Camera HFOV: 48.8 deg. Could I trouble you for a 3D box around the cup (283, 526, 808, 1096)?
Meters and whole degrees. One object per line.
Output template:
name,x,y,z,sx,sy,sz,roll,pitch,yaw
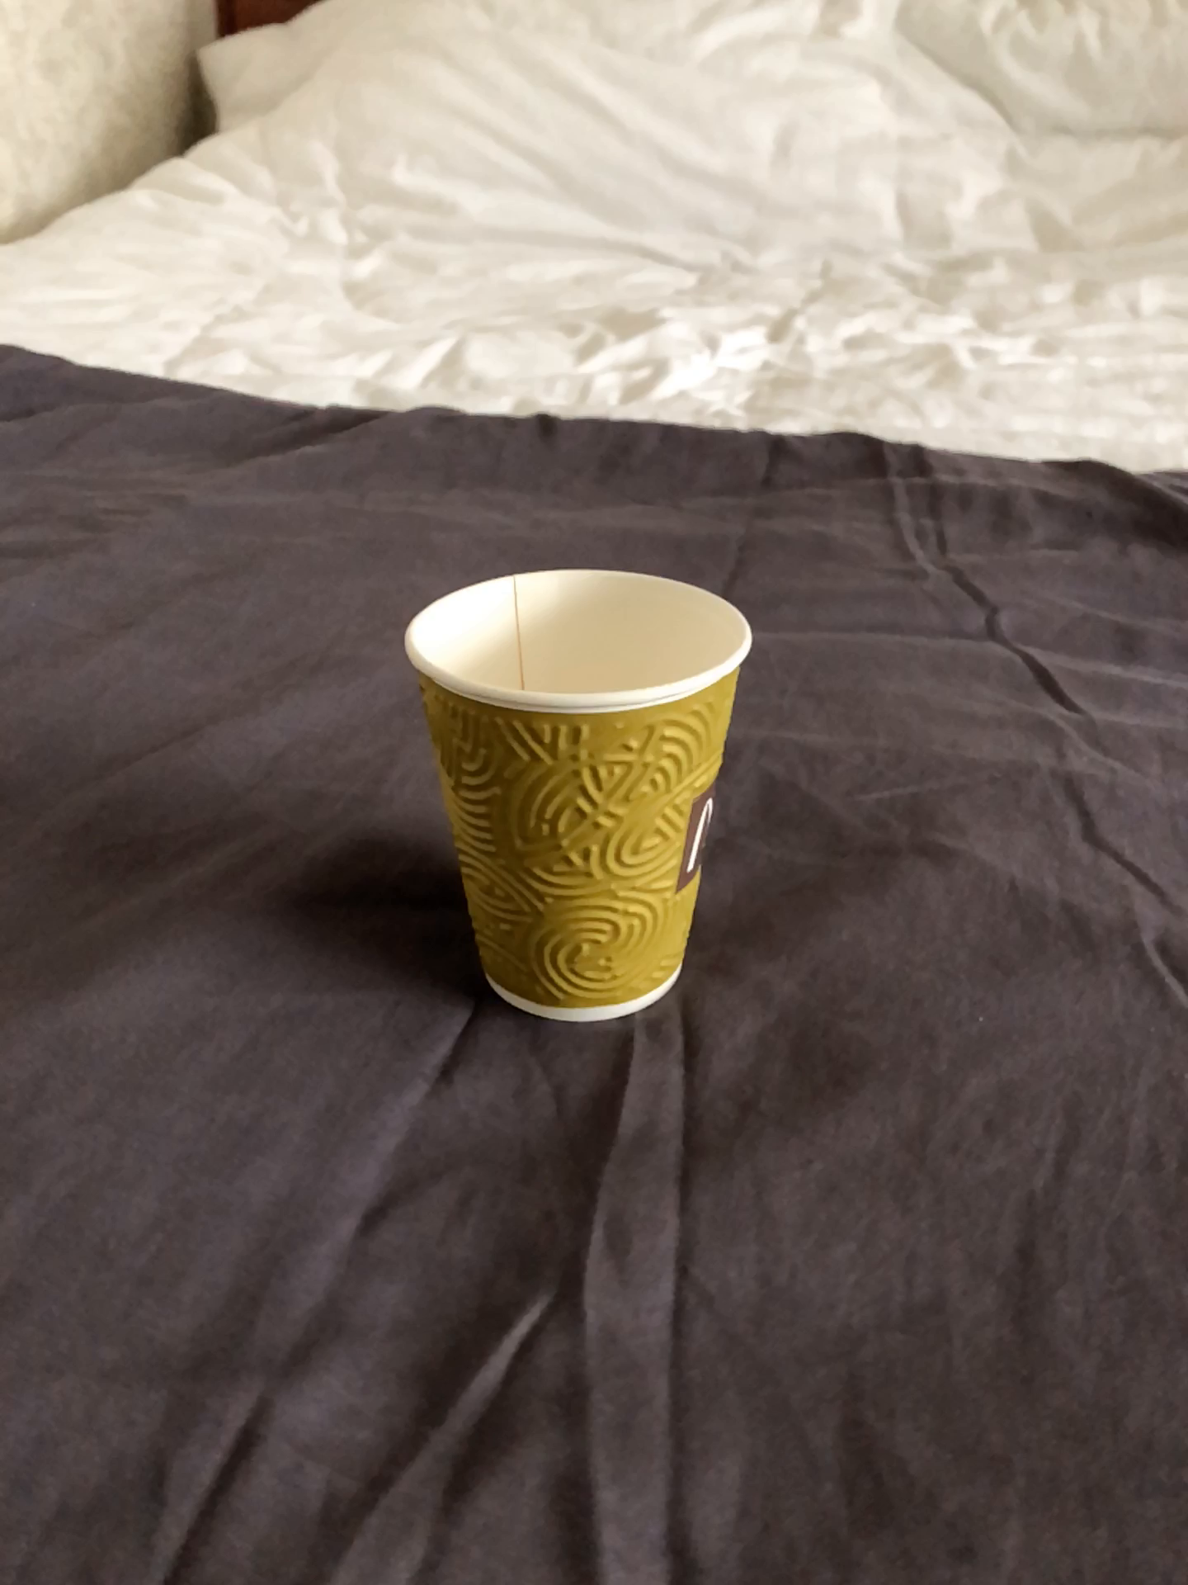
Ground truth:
cup,-0.006,-0.003,0.358,0.098,0.101,0.108,-1,29,0
